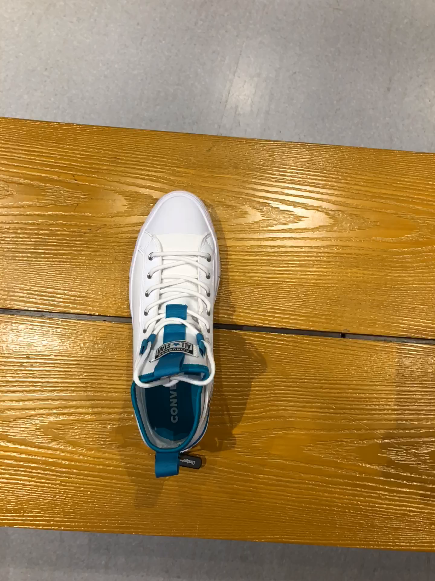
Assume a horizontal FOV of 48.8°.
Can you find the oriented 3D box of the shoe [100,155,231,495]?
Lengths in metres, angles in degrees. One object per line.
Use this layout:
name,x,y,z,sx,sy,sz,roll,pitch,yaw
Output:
shoe,-0.050,0.033,0.498,0.108,0.158,0.293,-2,83,-2
